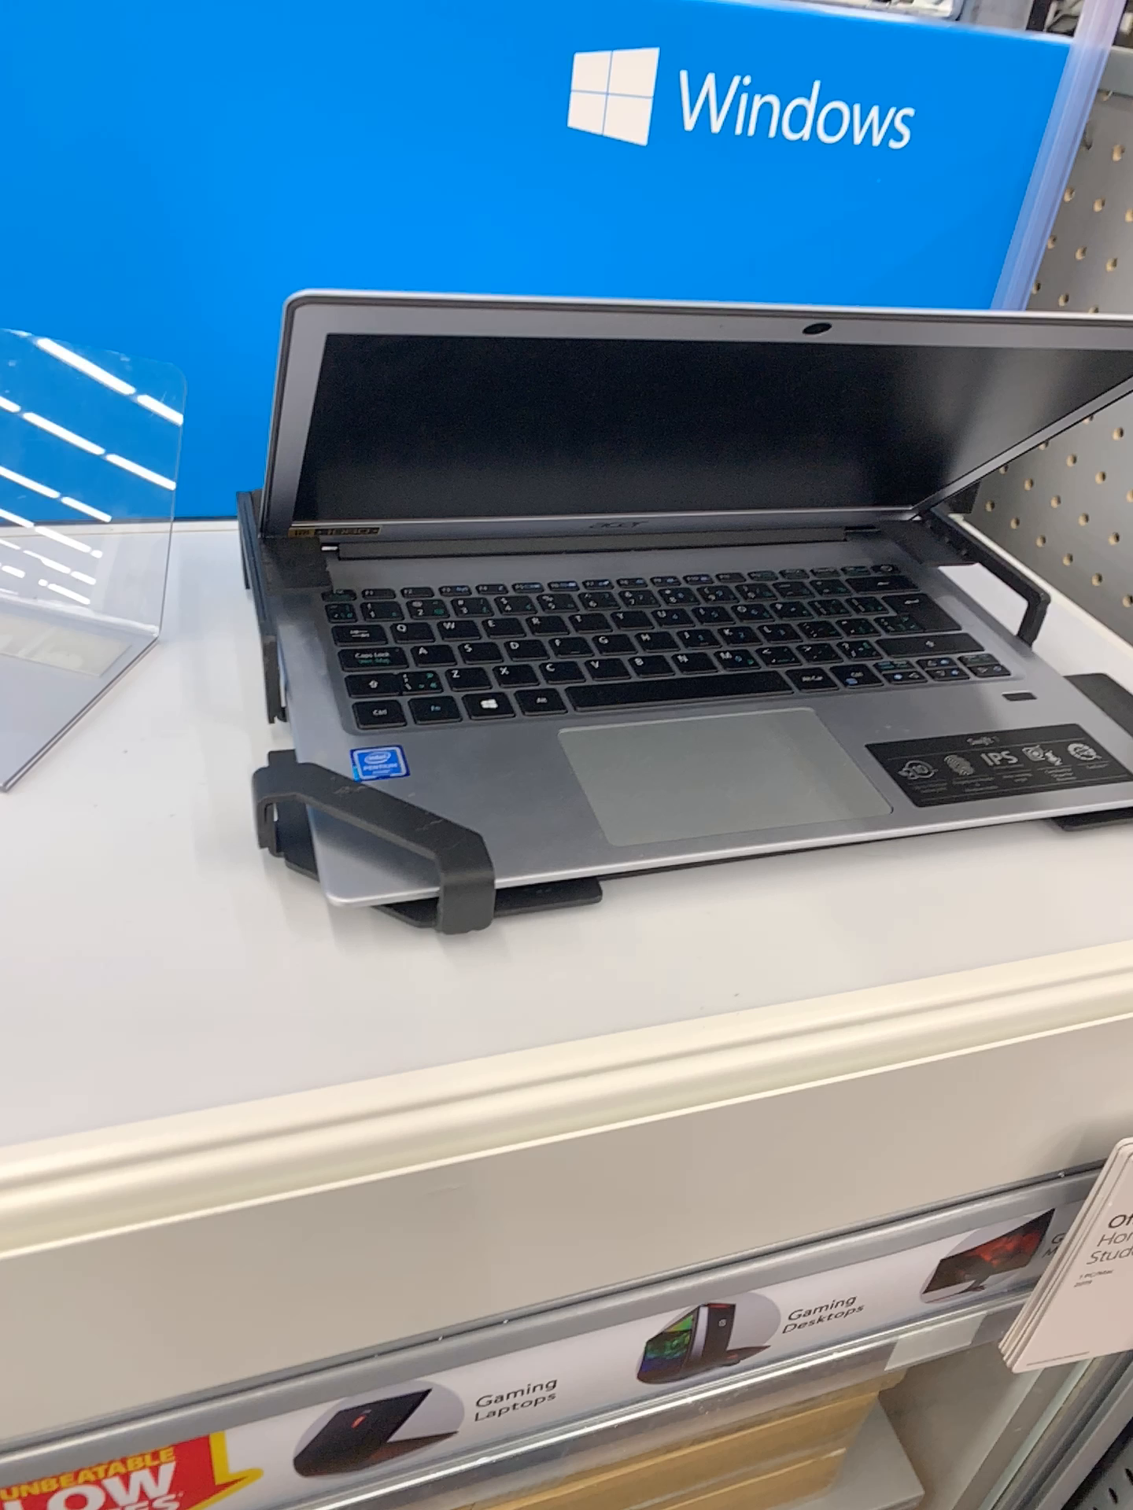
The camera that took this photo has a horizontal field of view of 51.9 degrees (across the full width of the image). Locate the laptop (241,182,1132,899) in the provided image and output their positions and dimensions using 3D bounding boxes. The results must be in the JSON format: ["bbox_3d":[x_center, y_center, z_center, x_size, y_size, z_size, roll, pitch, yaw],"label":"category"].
[{"bbox_3d":[0.057,-0.093,0.409,0.305,0.141,0.214,-5,37,-18],"label":"laptop"}]
